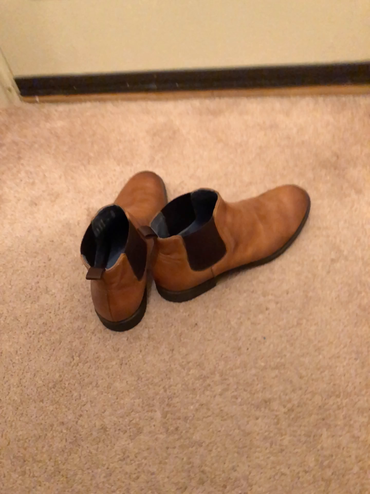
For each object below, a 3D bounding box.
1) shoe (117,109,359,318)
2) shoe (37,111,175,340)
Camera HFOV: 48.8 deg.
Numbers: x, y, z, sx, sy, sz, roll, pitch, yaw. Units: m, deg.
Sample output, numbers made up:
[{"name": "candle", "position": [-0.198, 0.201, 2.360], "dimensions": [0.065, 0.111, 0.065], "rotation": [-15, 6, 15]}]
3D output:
[{"name": "shoe", "position": [0.079, -0.049, 0.608], "dimensions": [0.312, 0.165, 0.109], "rotation": [-28, 57, -13]}, {"name": "shoe", "position": [-0.098, -0.041, 0.632], "dimensions": [0.109, 0.165, 0.314], "rotation": [3, 55, 7]}]
